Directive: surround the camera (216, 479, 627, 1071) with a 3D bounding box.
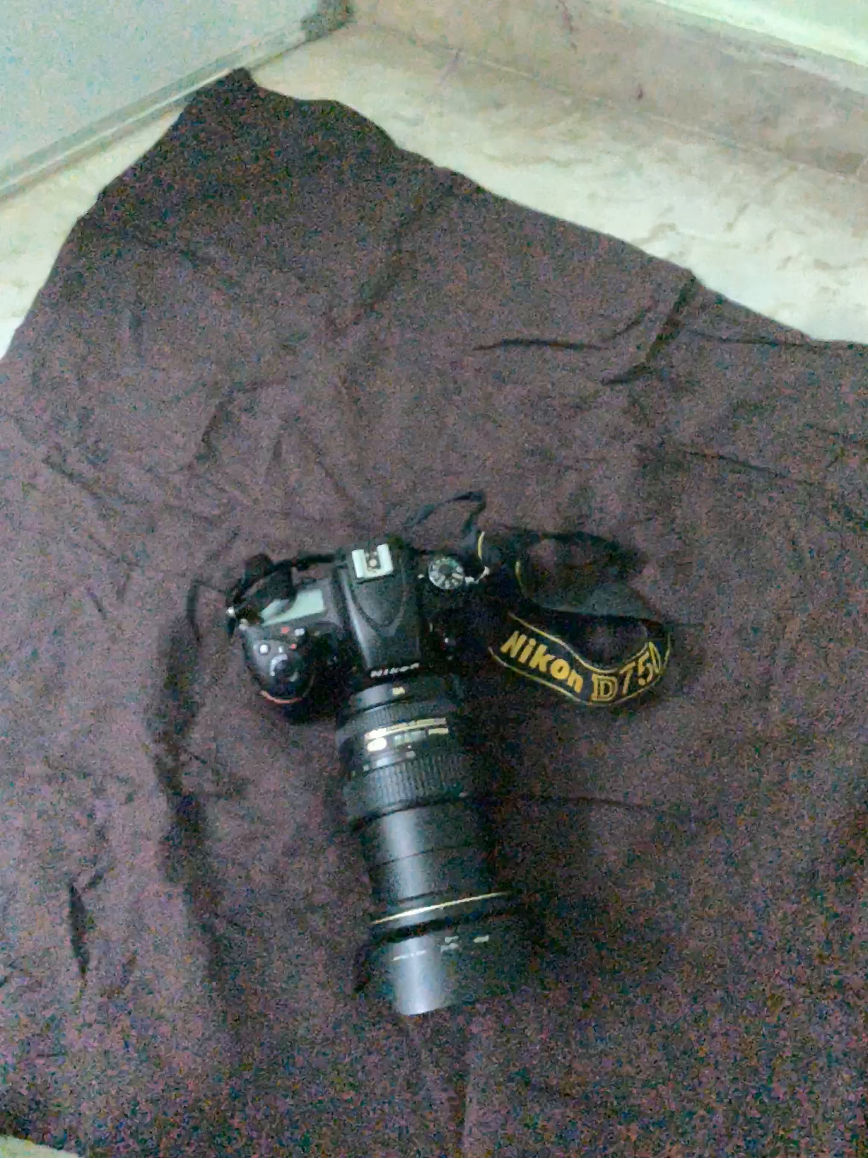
[{"bbox_3d":[-0.017,0.102,0.515,0.161,0.100,0.279,-11,70,-6],"label":"camera"}]
